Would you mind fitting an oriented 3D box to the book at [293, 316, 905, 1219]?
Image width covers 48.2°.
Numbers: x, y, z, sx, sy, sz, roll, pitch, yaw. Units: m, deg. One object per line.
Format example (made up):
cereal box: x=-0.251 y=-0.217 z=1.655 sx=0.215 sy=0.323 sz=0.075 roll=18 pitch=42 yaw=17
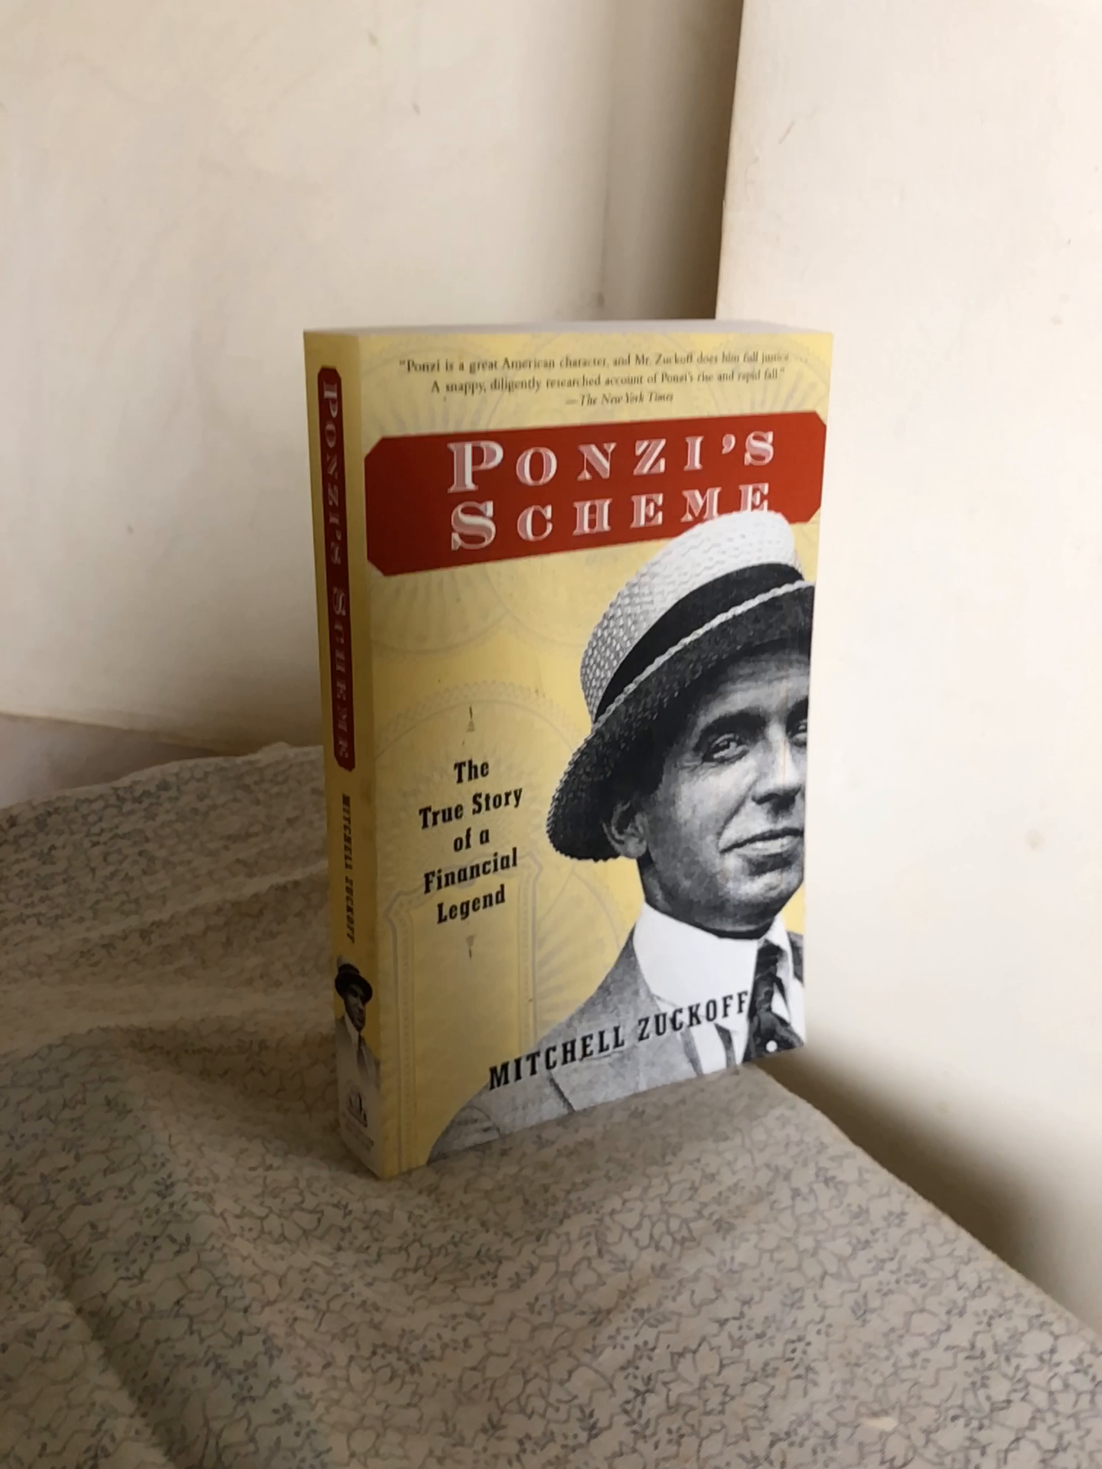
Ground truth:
book: x=0.014 y=0.004 z=0.318 sx=0.140 sy=0.209 sz=0.040 roll=-11 pitch=24 yaw=-28
